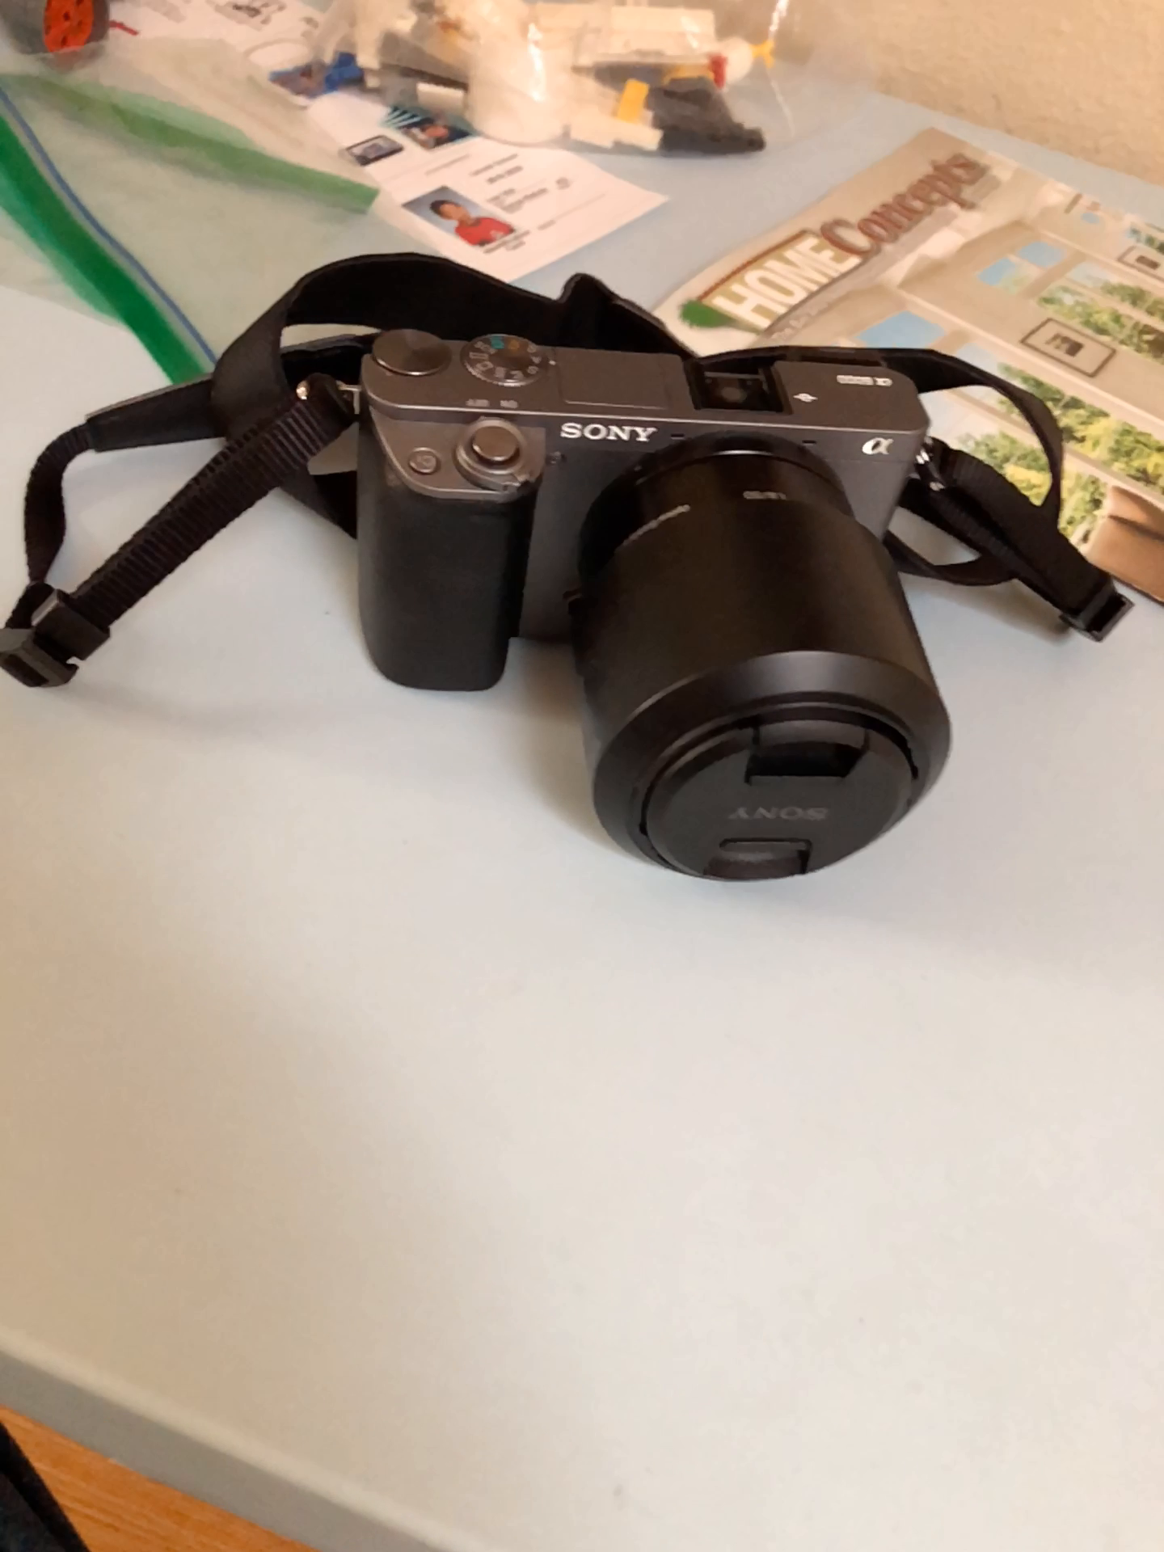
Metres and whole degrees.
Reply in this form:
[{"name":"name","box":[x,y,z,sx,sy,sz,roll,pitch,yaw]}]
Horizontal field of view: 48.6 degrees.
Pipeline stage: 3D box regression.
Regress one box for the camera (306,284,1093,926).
[{"name":"camera","box":[0.013,-0.035,0.268,0.130,0.070,0.110,1,51,-10]}]
